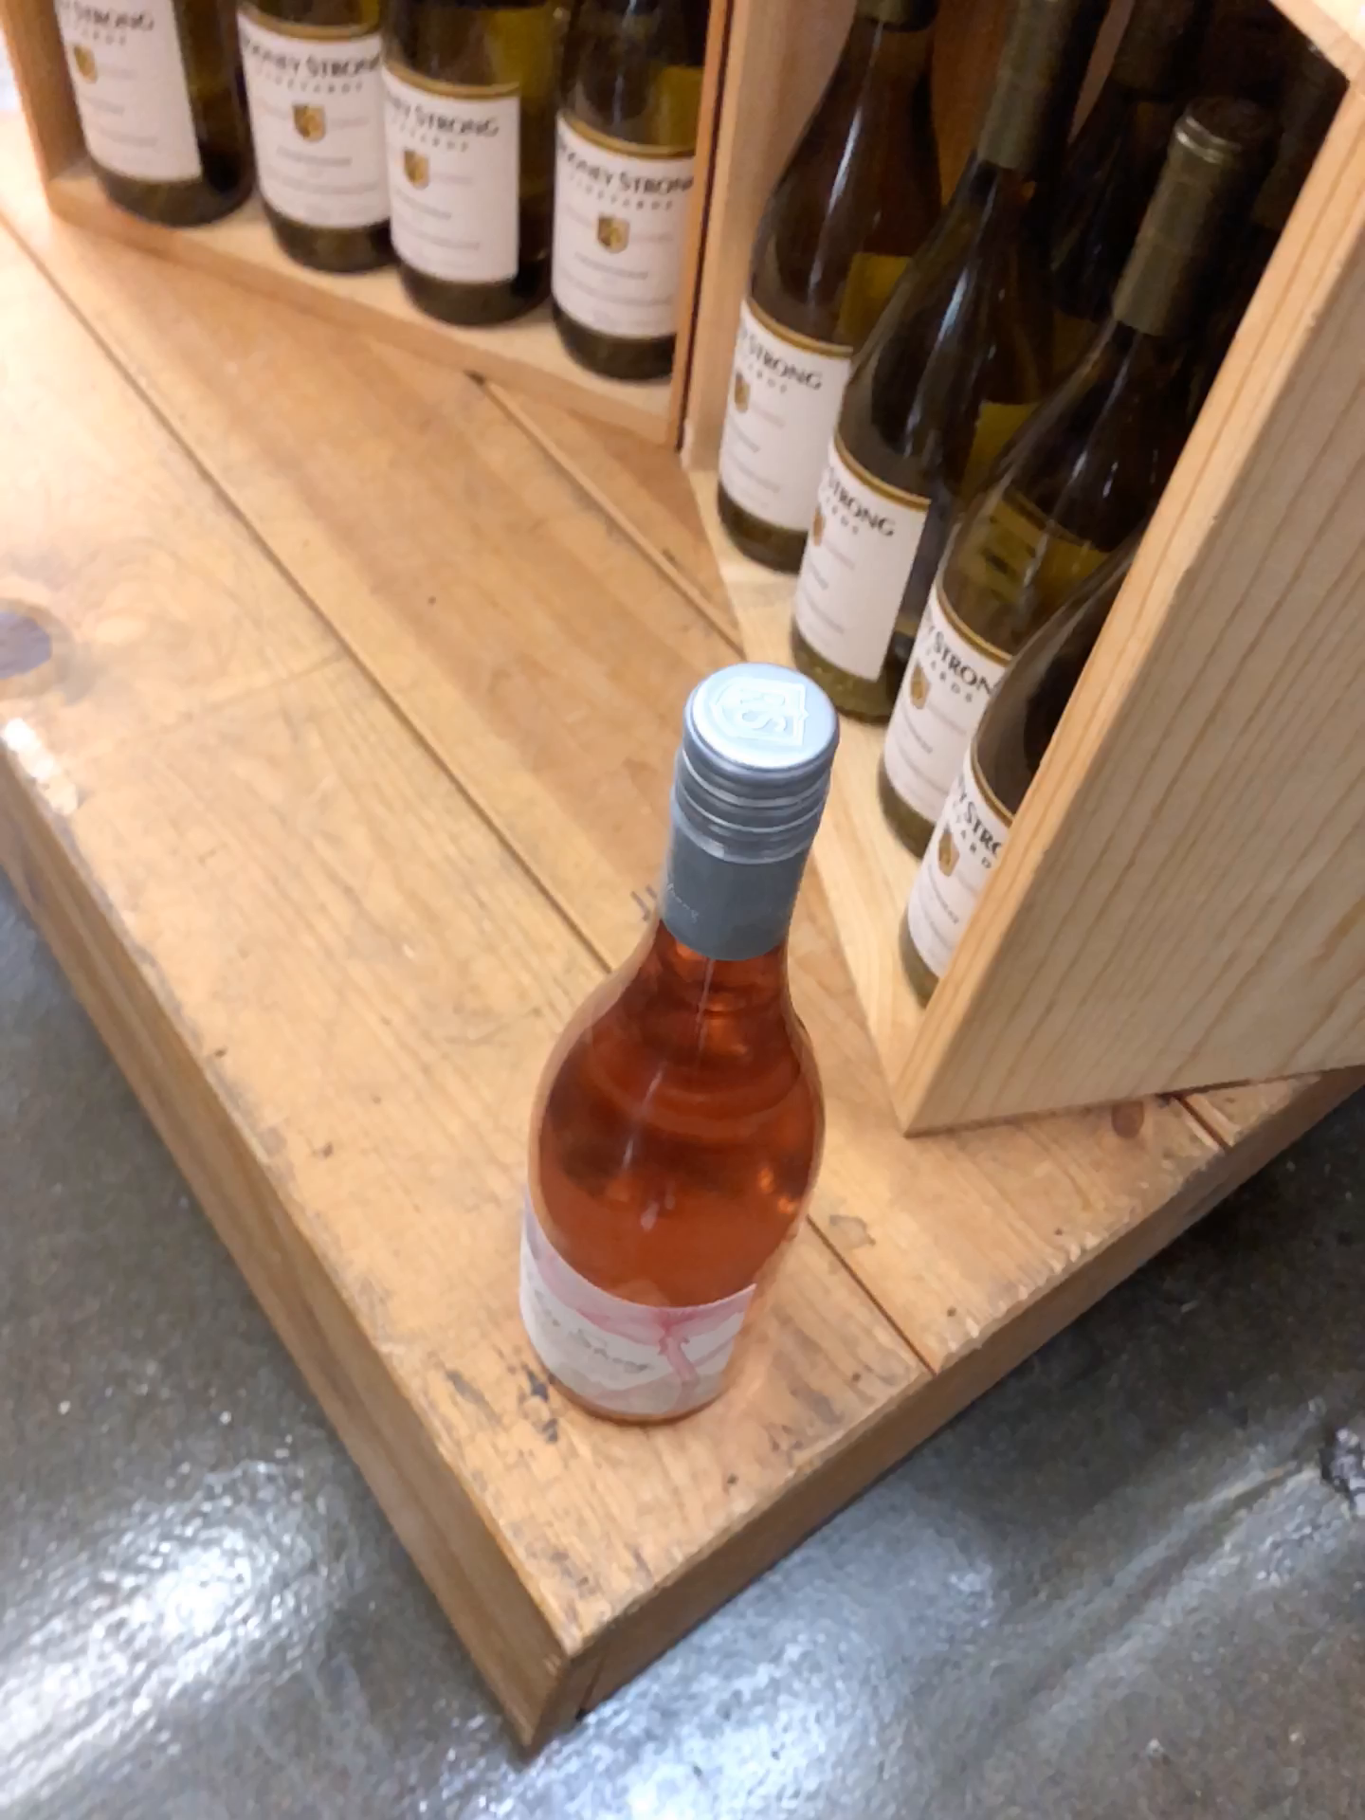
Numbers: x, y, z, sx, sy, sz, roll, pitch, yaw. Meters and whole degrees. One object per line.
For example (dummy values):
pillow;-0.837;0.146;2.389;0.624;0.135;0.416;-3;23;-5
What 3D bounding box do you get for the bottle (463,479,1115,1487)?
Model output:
bottle;0.004;0.050;0.389;0.080;0.309;0.082;3;55;-5
